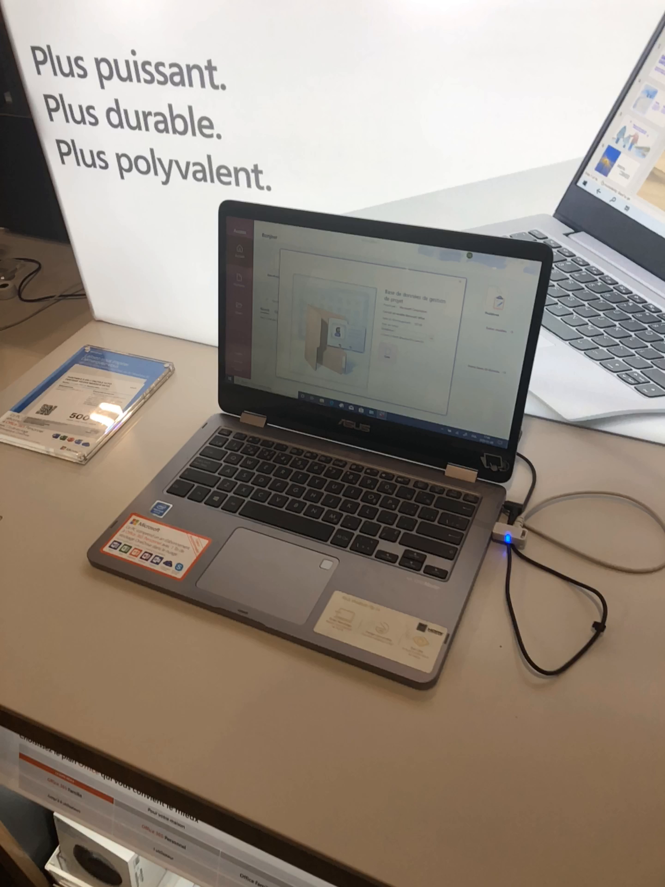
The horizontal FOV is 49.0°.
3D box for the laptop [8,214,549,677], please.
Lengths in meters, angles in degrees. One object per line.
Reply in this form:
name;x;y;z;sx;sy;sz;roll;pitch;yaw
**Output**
laptop;-0.020;-0.024;0.617;0.312;0.214;0.273;14;42;21
